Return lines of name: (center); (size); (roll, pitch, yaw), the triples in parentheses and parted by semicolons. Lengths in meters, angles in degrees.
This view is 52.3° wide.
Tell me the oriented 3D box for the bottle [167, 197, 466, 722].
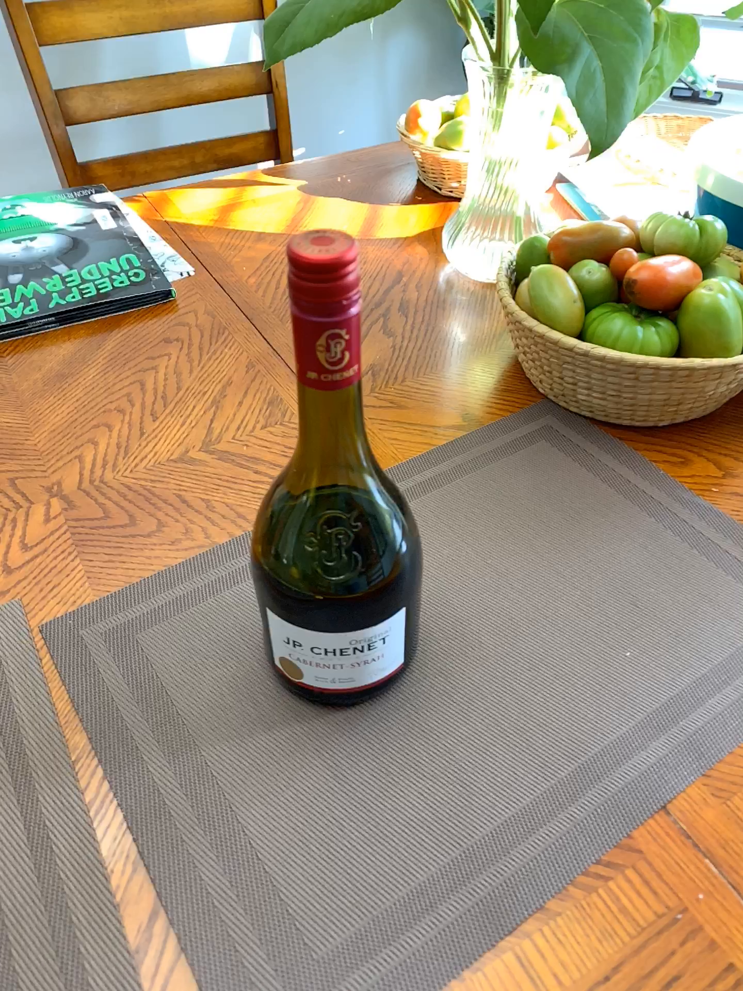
bottle: (-0.017, -0.003, 0.394); (0.100, 0.258, 0.101); (0, 43, 0)
